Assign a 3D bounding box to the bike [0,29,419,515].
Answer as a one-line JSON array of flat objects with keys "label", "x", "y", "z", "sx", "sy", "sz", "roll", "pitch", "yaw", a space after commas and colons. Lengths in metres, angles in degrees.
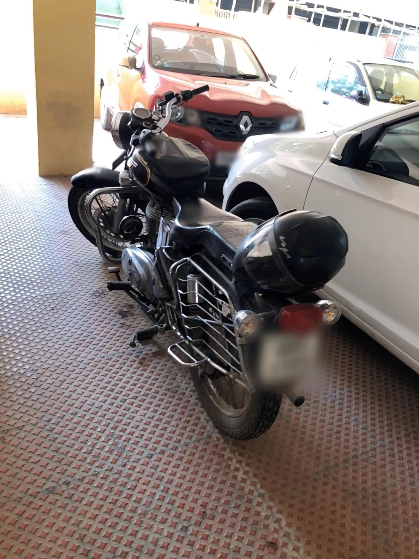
[{"label": "bike", "x": -0.291, "y": -0.221, "z": 2.033, "sx": 0.693, "sy": 1.217, "sz": 1.789, "roll": -12, "pitch": 37, "yaw": -34}]
